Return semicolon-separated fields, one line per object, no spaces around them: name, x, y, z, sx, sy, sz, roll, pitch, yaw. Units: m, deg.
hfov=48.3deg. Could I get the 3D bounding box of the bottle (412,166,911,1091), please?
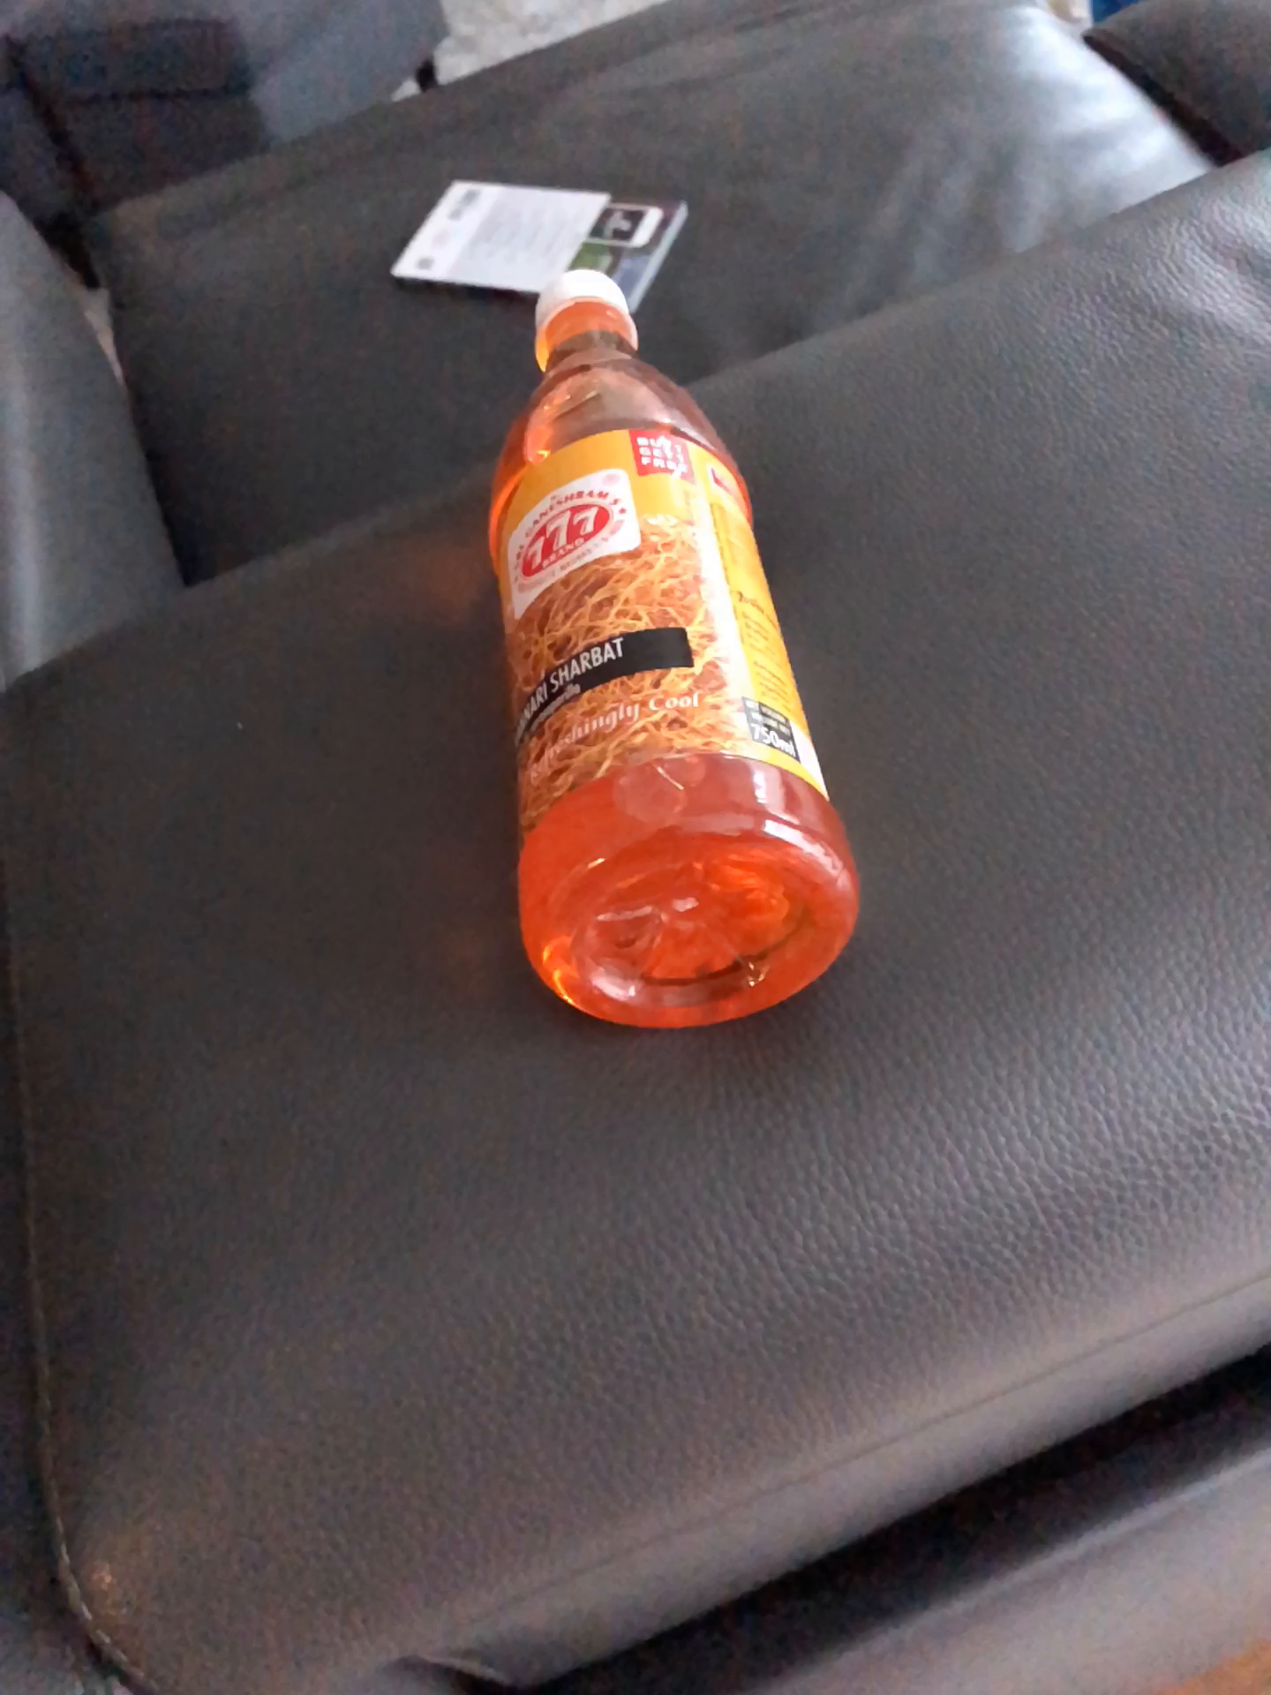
bottle;-0.007;-0.080;0.396;0.080;0.070;0.281;-24;46;15
